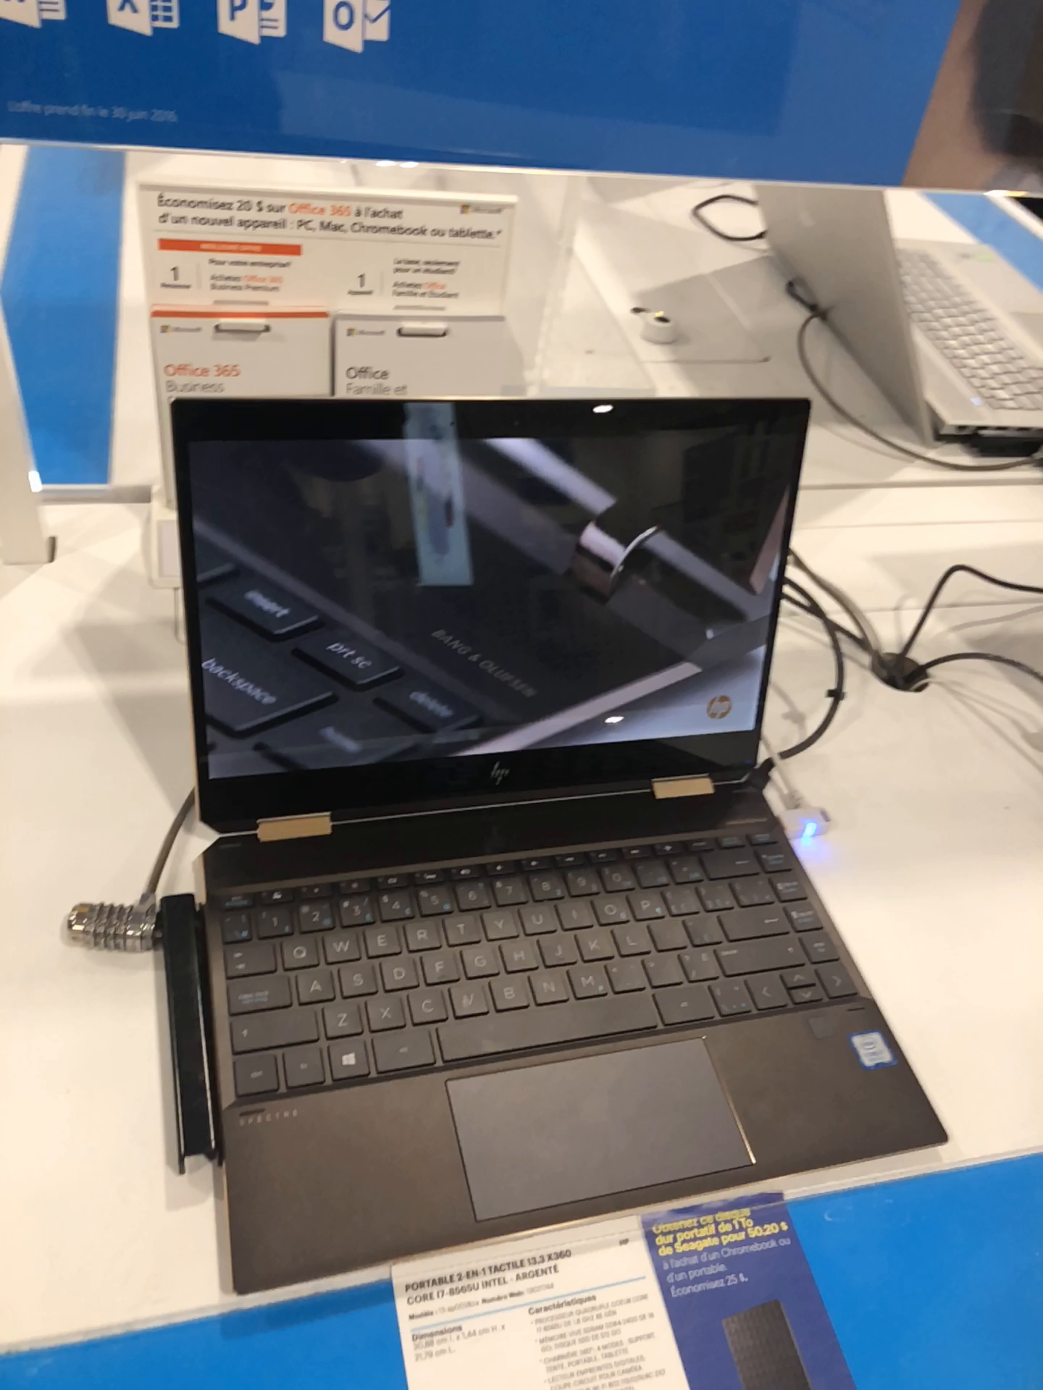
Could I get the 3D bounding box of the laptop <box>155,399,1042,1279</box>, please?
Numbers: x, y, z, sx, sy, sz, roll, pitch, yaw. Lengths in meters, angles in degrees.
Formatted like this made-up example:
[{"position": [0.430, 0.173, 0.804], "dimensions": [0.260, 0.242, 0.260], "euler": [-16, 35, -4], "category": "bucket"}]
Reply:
[{"position": [0.015, 0.036, 0.490], "dimensions": [0.297, 0.197, 0.285], "euler": [-4, 44, -16], "category": "laptop"}]
